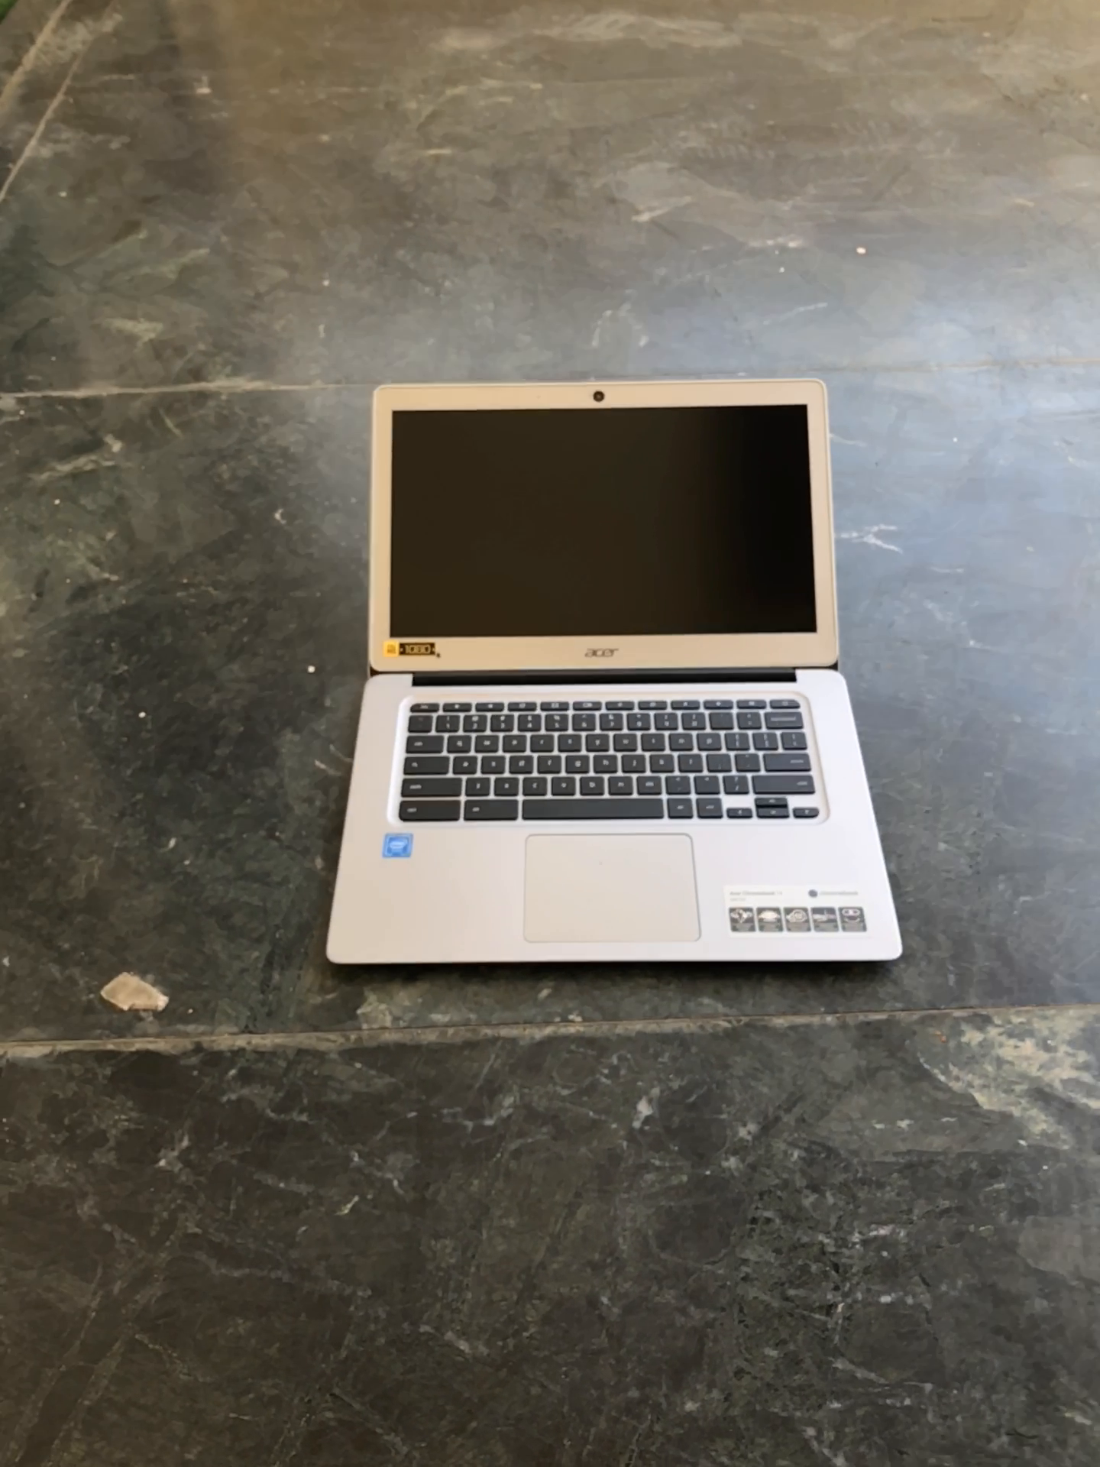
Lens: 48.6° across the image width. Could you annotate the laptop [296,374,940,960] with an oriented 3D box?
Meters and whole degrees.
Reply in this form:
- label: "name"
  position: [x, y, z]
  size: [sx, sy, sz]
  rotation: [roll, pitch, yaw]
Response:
- label: "laptop"
  position: [0.037, -0.067, 0.821]
  size: [0.337, 0.117, 0.426]
  rotation: [-1, 49, 1]
